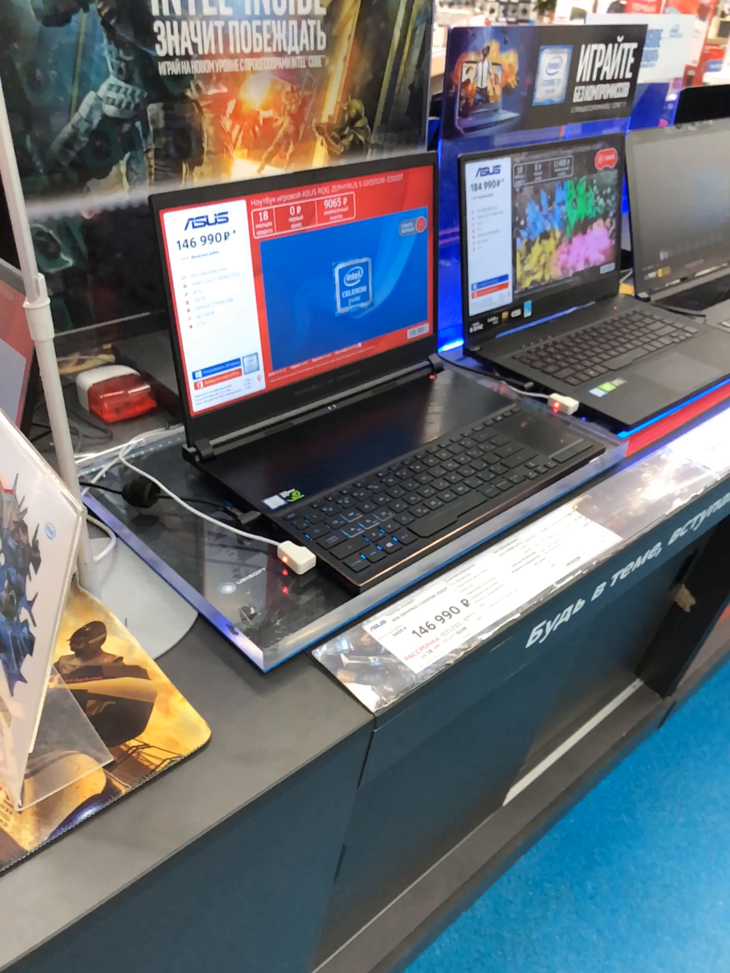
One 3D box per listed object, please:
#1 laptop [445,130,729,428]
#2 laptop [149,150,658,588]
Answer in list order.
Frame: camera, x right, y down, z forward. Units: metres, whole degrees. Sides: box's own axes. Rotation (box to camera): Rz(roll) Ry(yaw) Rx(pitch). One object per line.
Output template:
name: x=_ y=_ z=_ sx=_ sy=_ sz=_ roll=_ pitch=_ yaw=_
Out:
laptop: x=0.333 y=-0.291 z=1.030 sx=0.342 sy=0.219 sz=0.302 roll=-23 pitch=42 yaw=-33
laptop: x=0.035 y=-0.145 z=0.761 sx=0.350 sy=0.241 sz=0.279 roll=-25 pitch=43 yaw=-36
